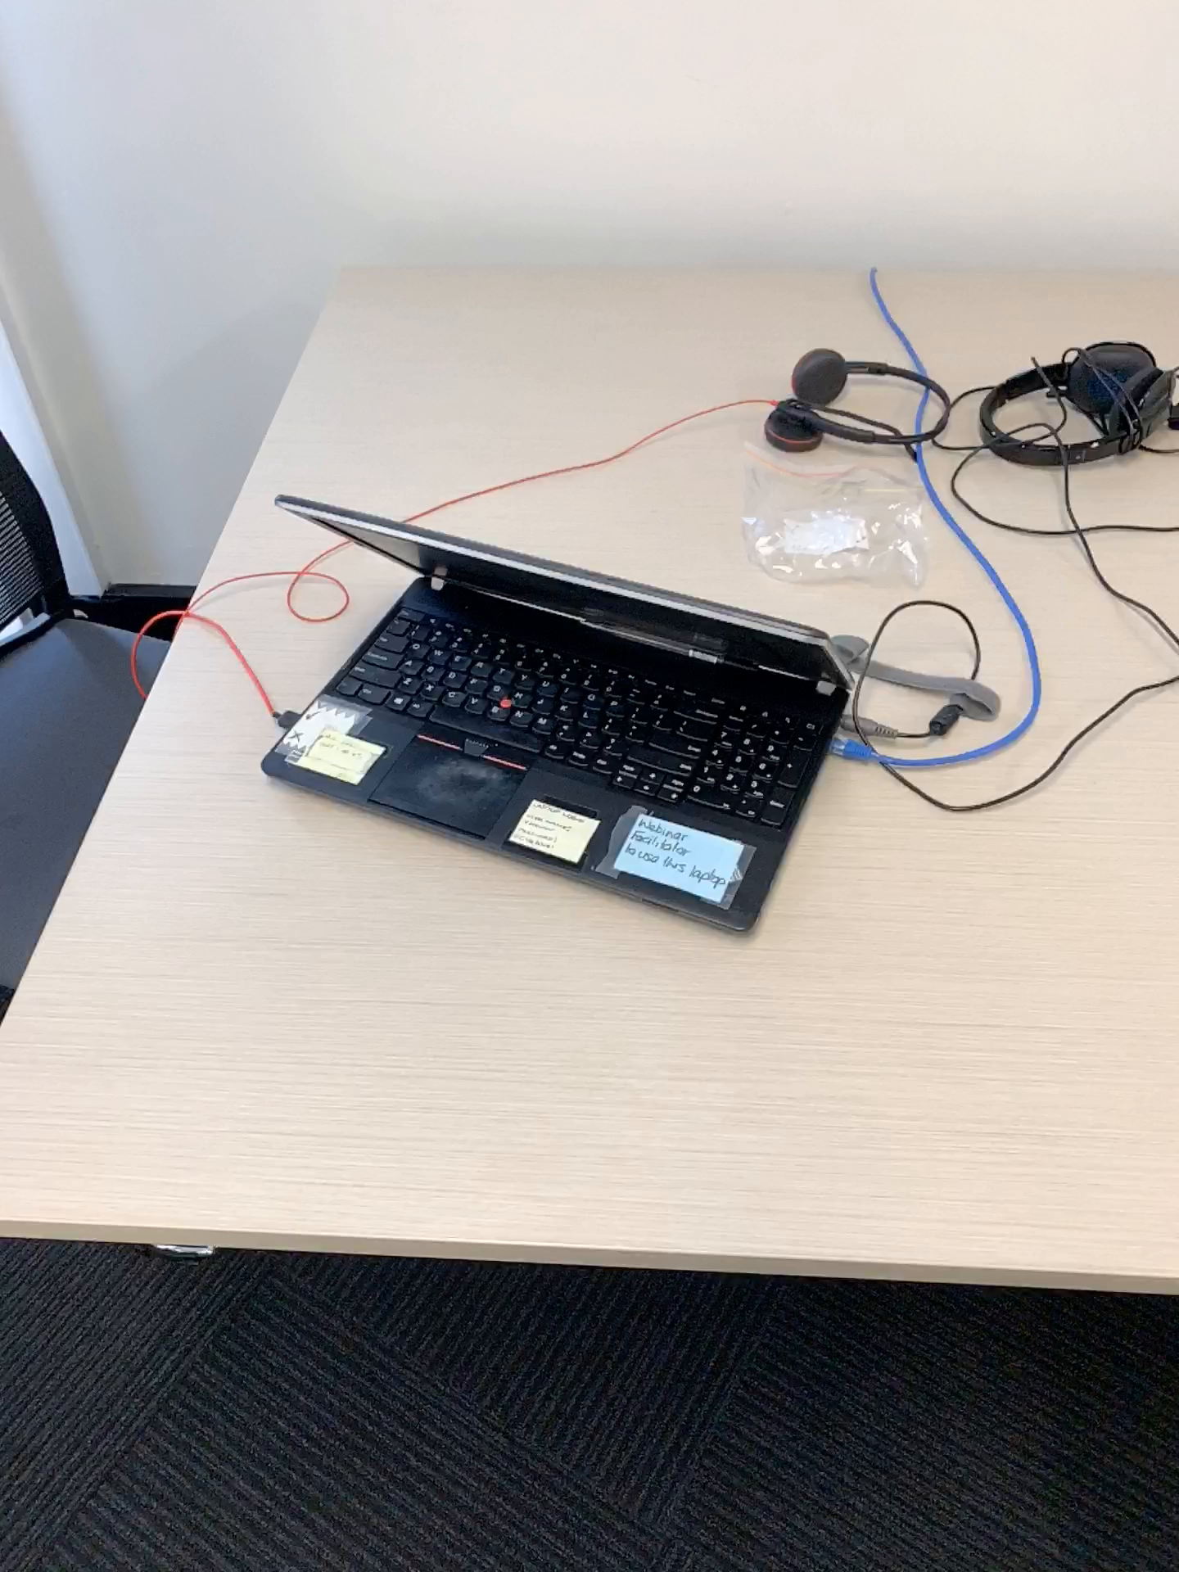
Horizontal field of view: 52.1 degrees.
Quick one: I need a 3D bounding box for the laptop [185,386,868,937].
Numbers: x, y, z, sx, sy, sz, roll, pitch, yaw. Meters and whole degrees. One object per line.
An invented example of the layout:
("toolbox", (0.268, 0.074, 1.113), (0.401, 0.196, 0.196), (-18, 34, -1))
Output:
("laptop", (-0.025, -0.092, 0.723), (0.326, 0.157, 0.227), (16, 46, 18))
